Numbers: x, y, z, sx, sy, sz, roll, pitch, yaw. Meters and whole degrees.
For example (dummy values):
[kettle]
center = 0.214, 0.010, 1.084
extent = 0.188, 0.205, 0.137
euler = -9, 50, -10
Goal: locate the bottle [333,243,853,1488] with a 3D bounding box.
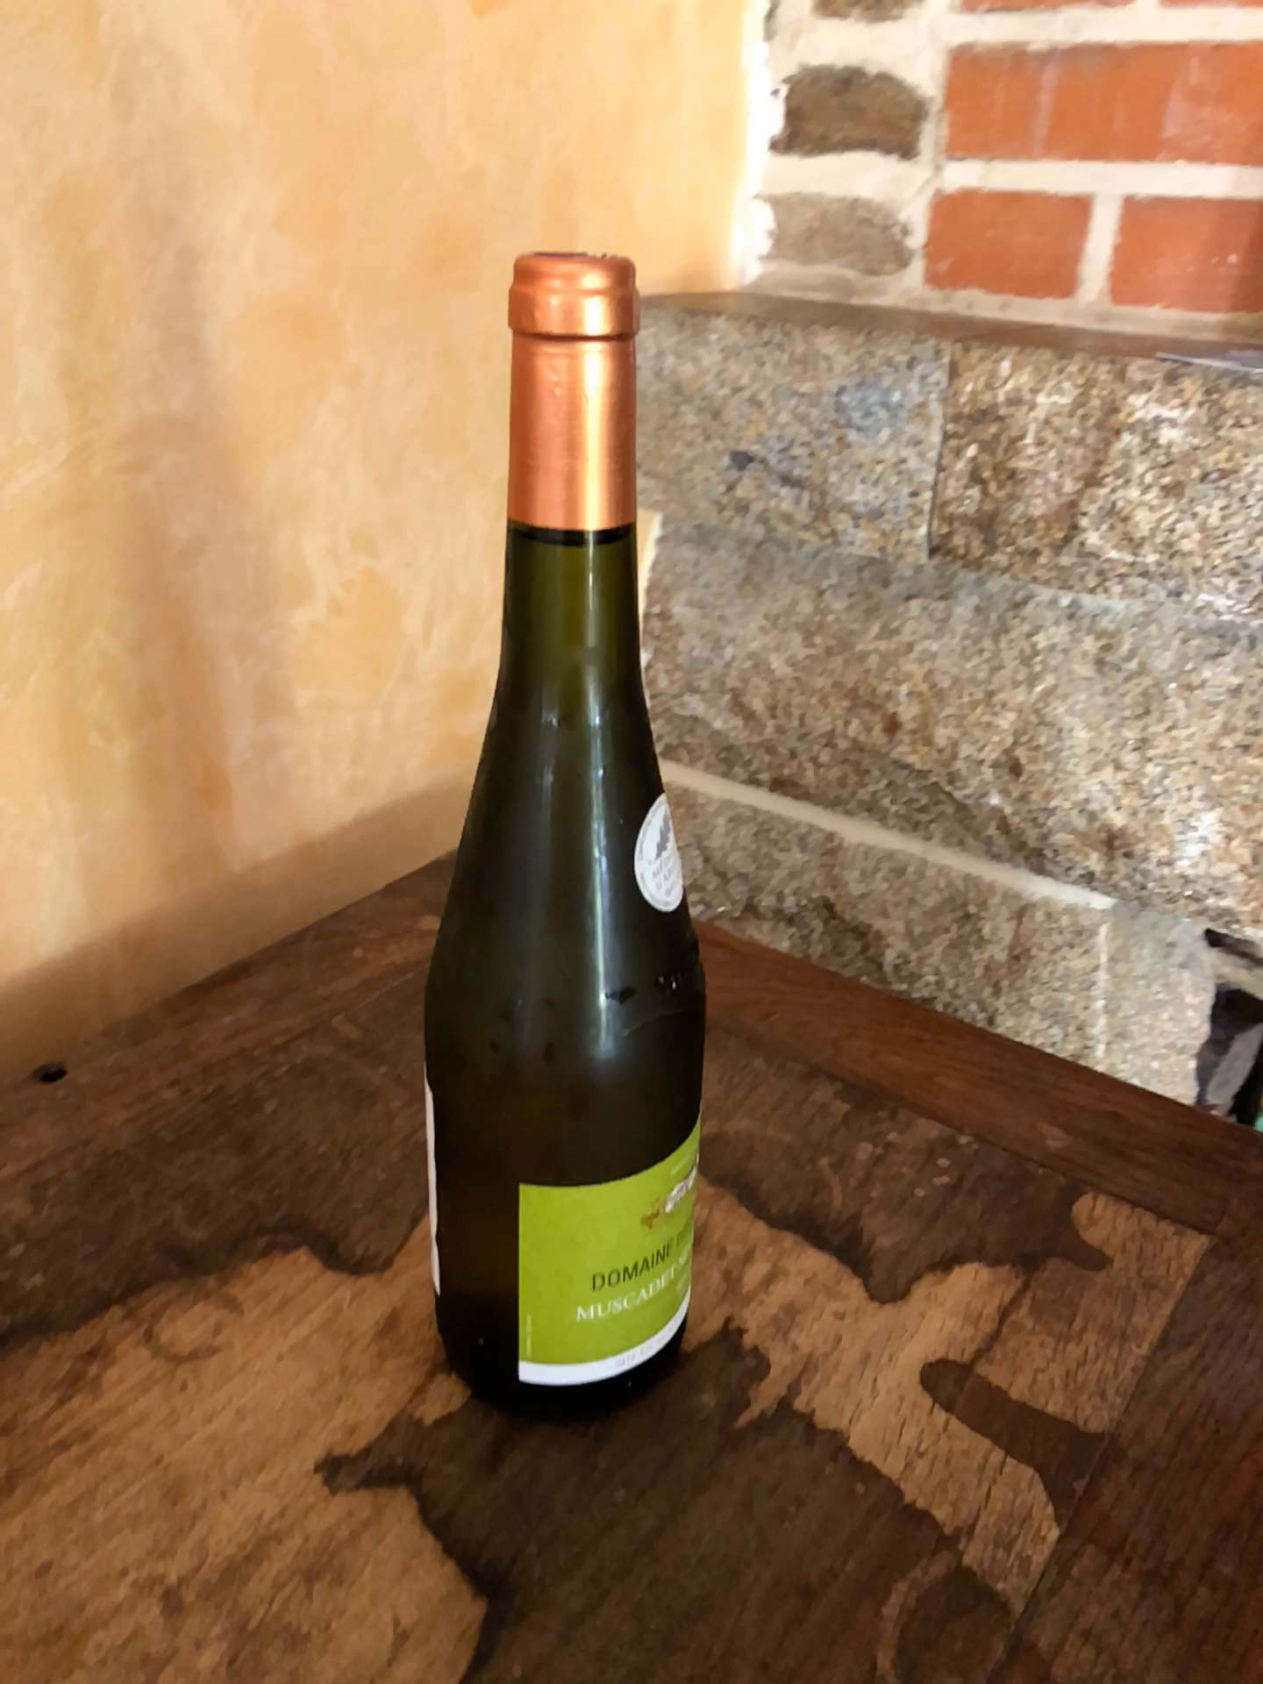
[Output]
[bottle]
center = -0.011, 0.011, 0.369
extent = 0.080, 0.308, 0.091
euler = 15, 27, 24
